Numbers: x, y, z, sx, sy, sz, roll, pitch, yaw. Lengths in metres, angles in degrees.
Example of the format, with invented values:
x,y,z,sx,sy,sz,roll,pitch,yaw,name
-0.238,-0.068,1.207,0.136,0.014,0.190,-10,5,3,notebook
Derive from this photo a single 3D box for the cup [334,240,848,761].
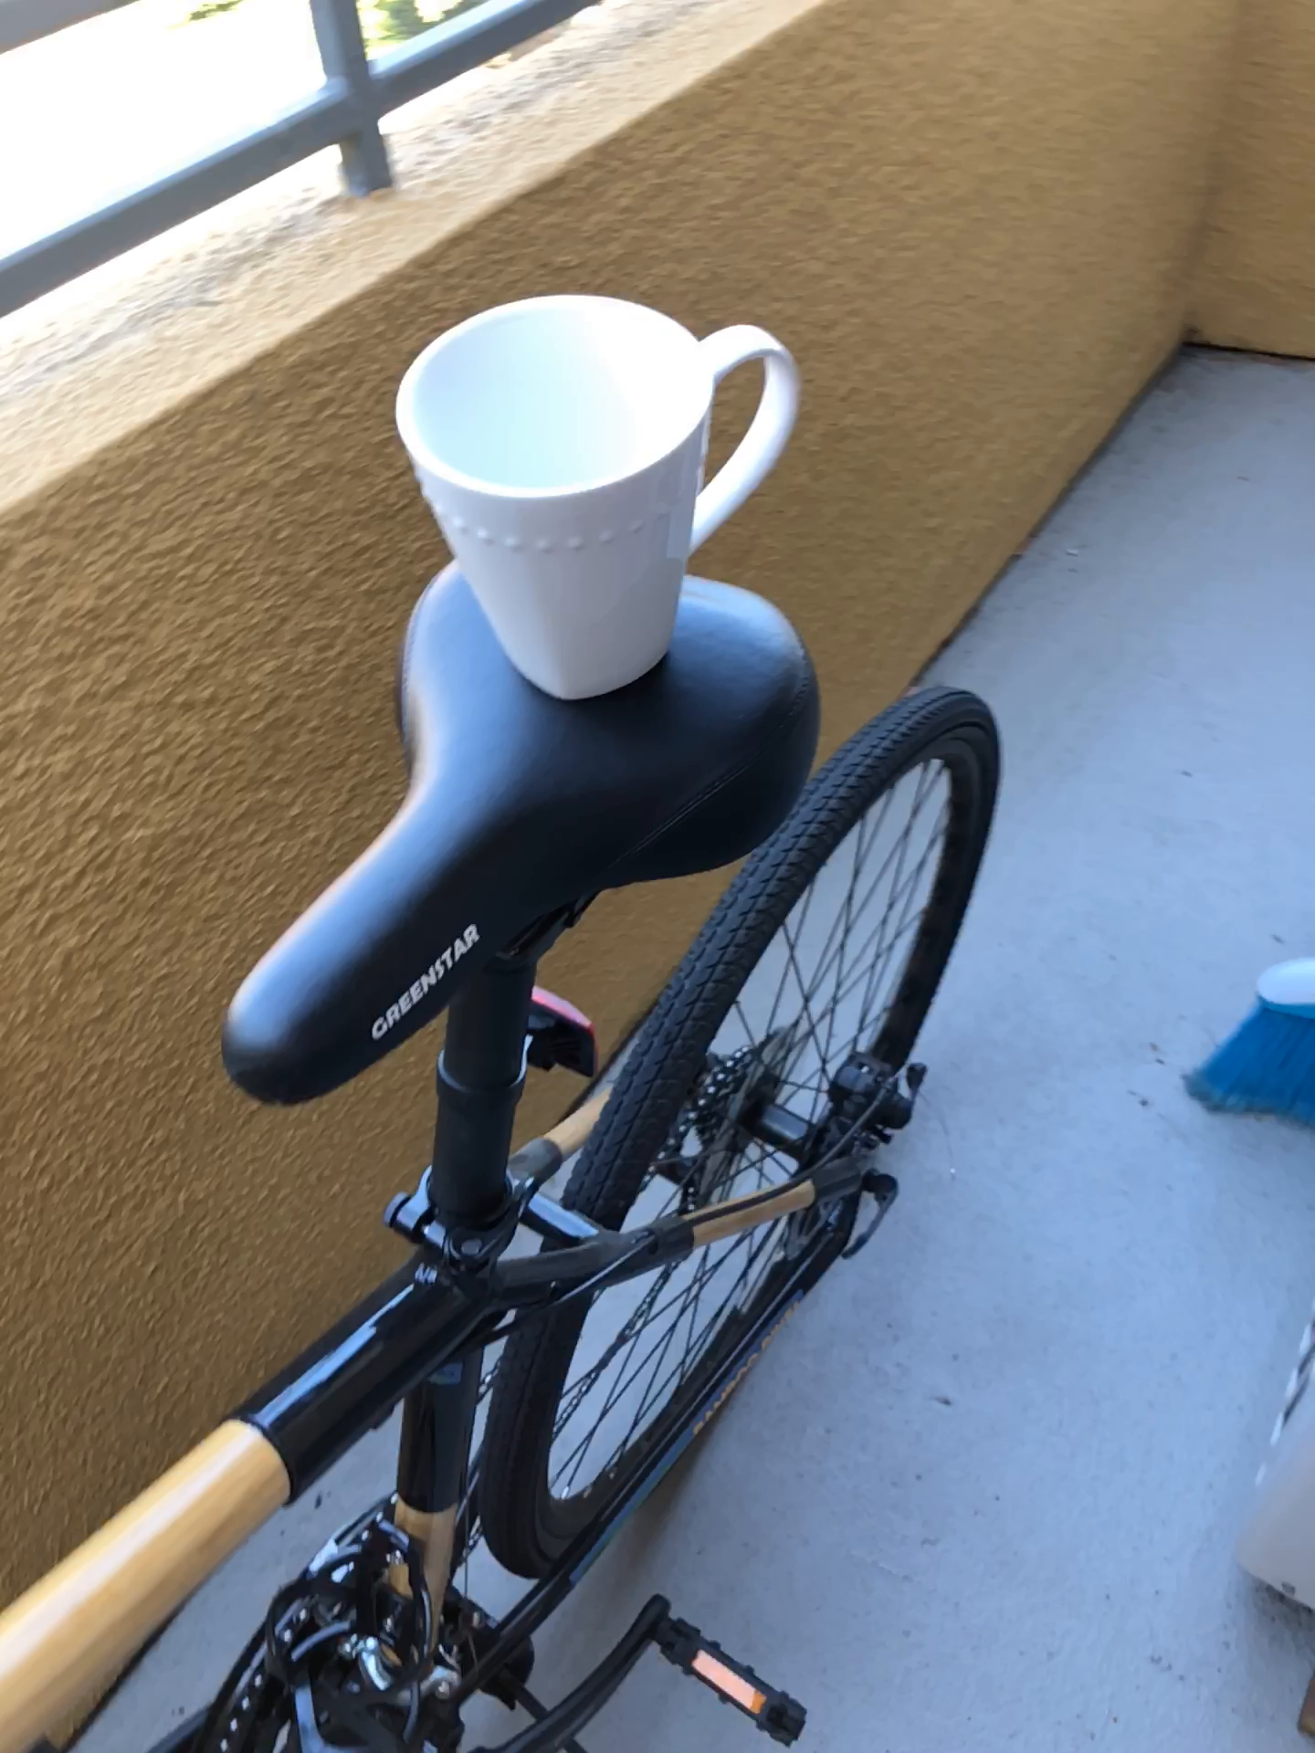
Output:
x,y,z,sx,sy,sz,roll,pitch,yaw,name
-0.018,-0.128,0.483,0.130,0.100,0.090,-33,54,-25,cup
